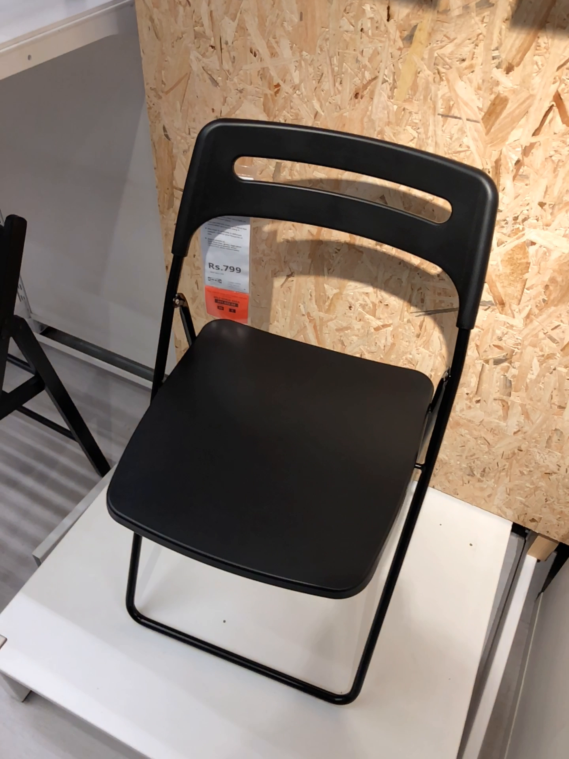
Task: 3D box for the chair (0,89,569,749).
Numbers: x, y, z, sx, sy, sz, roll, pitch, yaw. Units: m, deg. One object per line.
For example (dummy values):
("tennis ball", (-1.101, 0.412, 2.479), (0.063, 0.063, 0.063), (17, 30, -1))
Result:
("chair", (0.029, 0.076, 0.942), (0.490, 0.735, 0.523), (17, 47, 14))
